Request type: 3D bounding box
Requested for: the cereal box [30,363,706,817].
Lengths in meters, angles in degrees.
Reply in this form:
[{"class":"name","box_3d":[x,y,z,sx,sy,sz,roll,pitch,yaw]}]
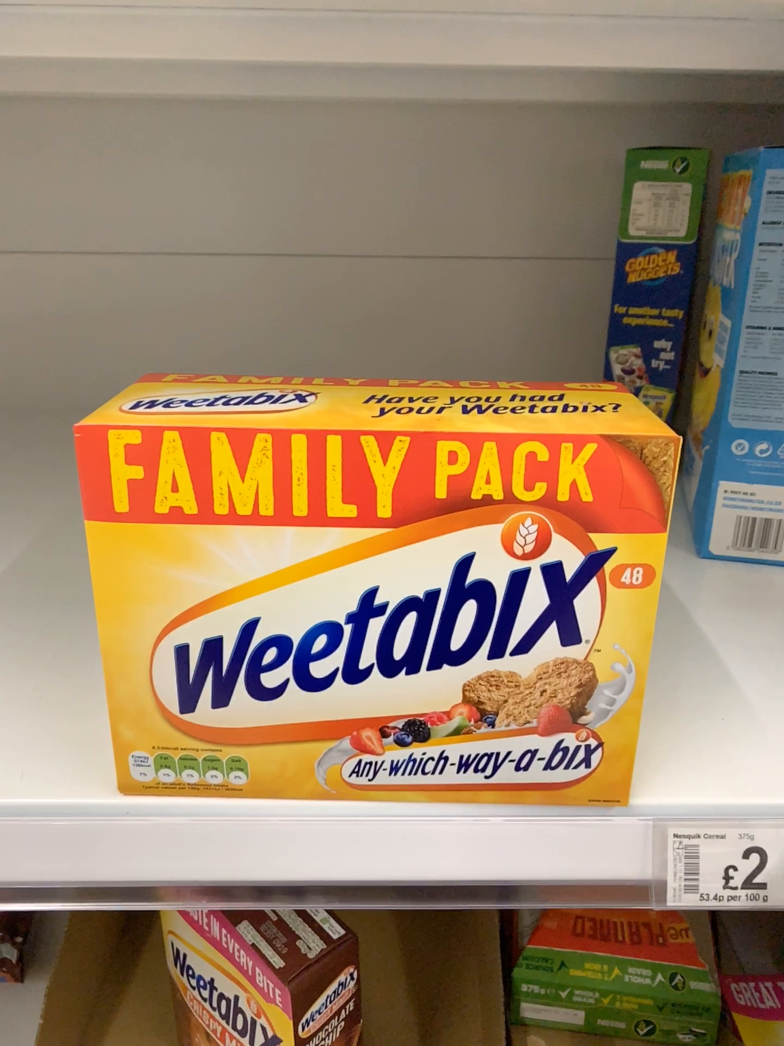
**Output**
[{"class":"cereal box","box_3d":[-0.010,0.030,0.388,0.260,0.189,0.091,1,22,1]}]
